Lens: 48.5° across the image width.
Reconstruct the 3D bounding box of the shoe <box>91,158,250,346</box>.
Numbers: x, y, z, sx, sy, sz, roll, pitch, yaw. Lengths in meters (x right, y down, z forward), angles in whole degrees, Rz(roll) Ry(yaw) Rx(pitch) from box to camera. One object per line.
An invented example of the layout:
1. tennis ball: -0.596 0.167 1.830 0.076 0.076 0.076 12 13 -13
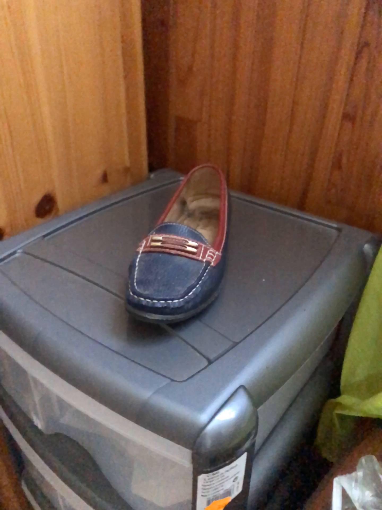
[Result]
1. shoe: -0.003 -0.025 0.459 0.100 0.070 0.262 8 32 10
